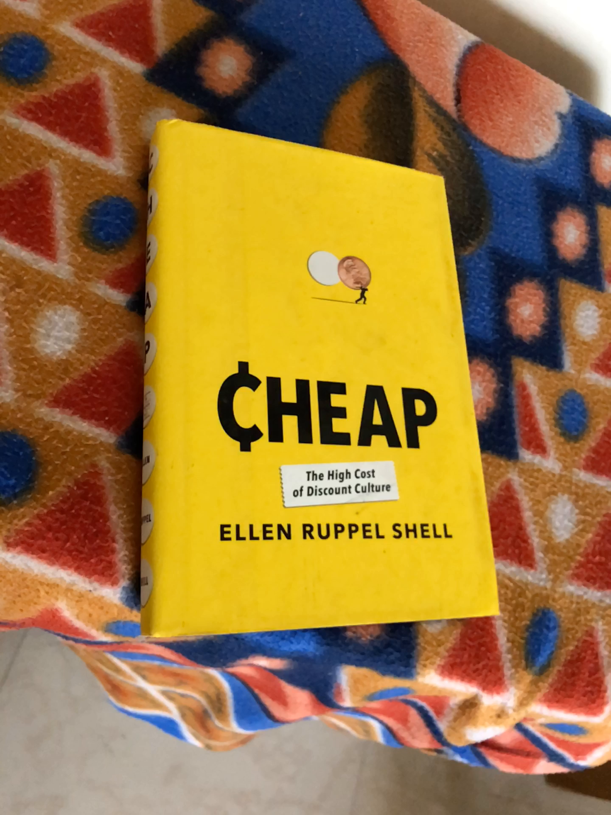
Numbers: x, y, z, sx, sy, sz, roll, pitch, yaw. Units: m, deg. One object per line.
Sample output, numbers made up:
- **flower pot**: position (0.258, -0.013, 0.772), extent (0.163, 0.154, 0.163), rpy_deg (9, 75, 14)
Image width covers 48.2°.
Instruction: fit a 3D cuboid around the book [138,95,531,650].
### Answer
- **book**: position (0.011, -0.019, 0.324), extent (0.171, 0.030, 0.240), rpy_deg (4, 72, -23)
